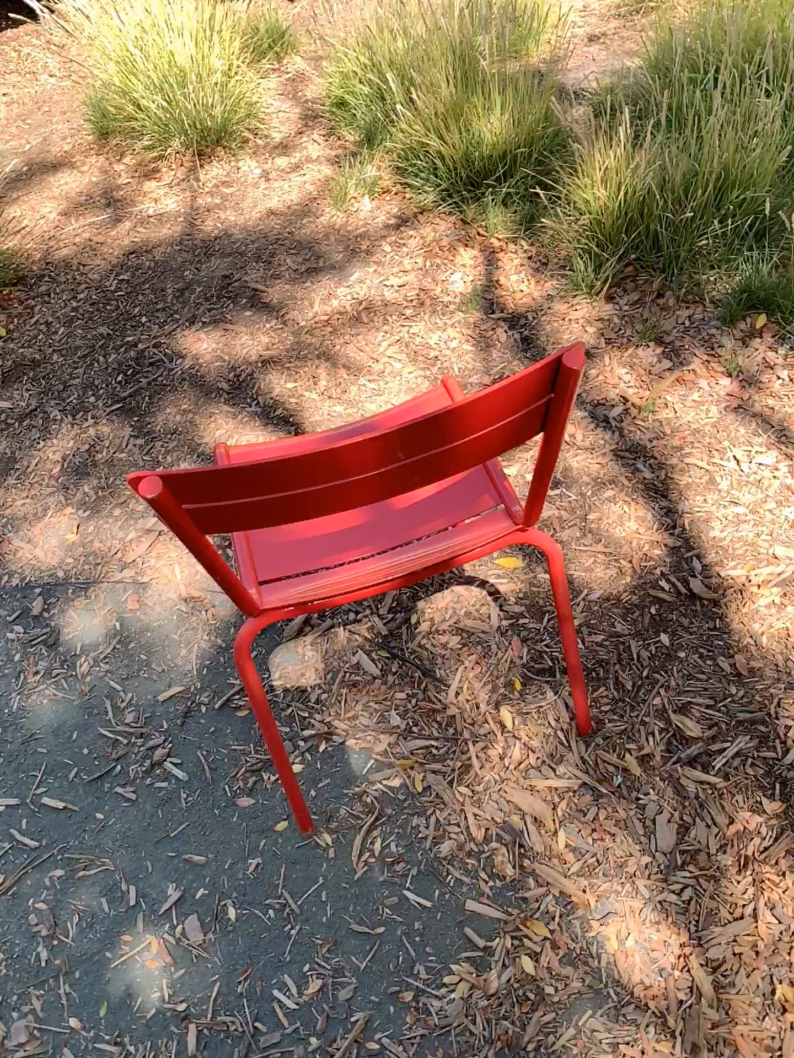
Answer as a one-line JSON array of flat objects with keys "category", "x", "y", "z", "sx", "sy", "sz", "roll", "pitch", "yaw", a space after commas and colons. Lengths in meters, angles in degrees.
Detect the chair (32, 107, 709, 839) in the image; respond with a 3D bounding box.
[{"category": "chair", "x": -0.052, "y": -0.032, "z": 1.206, "sx": 0.610, "sy": 0.786, "sz": 0.573, "roll": -17, "pitch": 54, "yaw": -6}]
